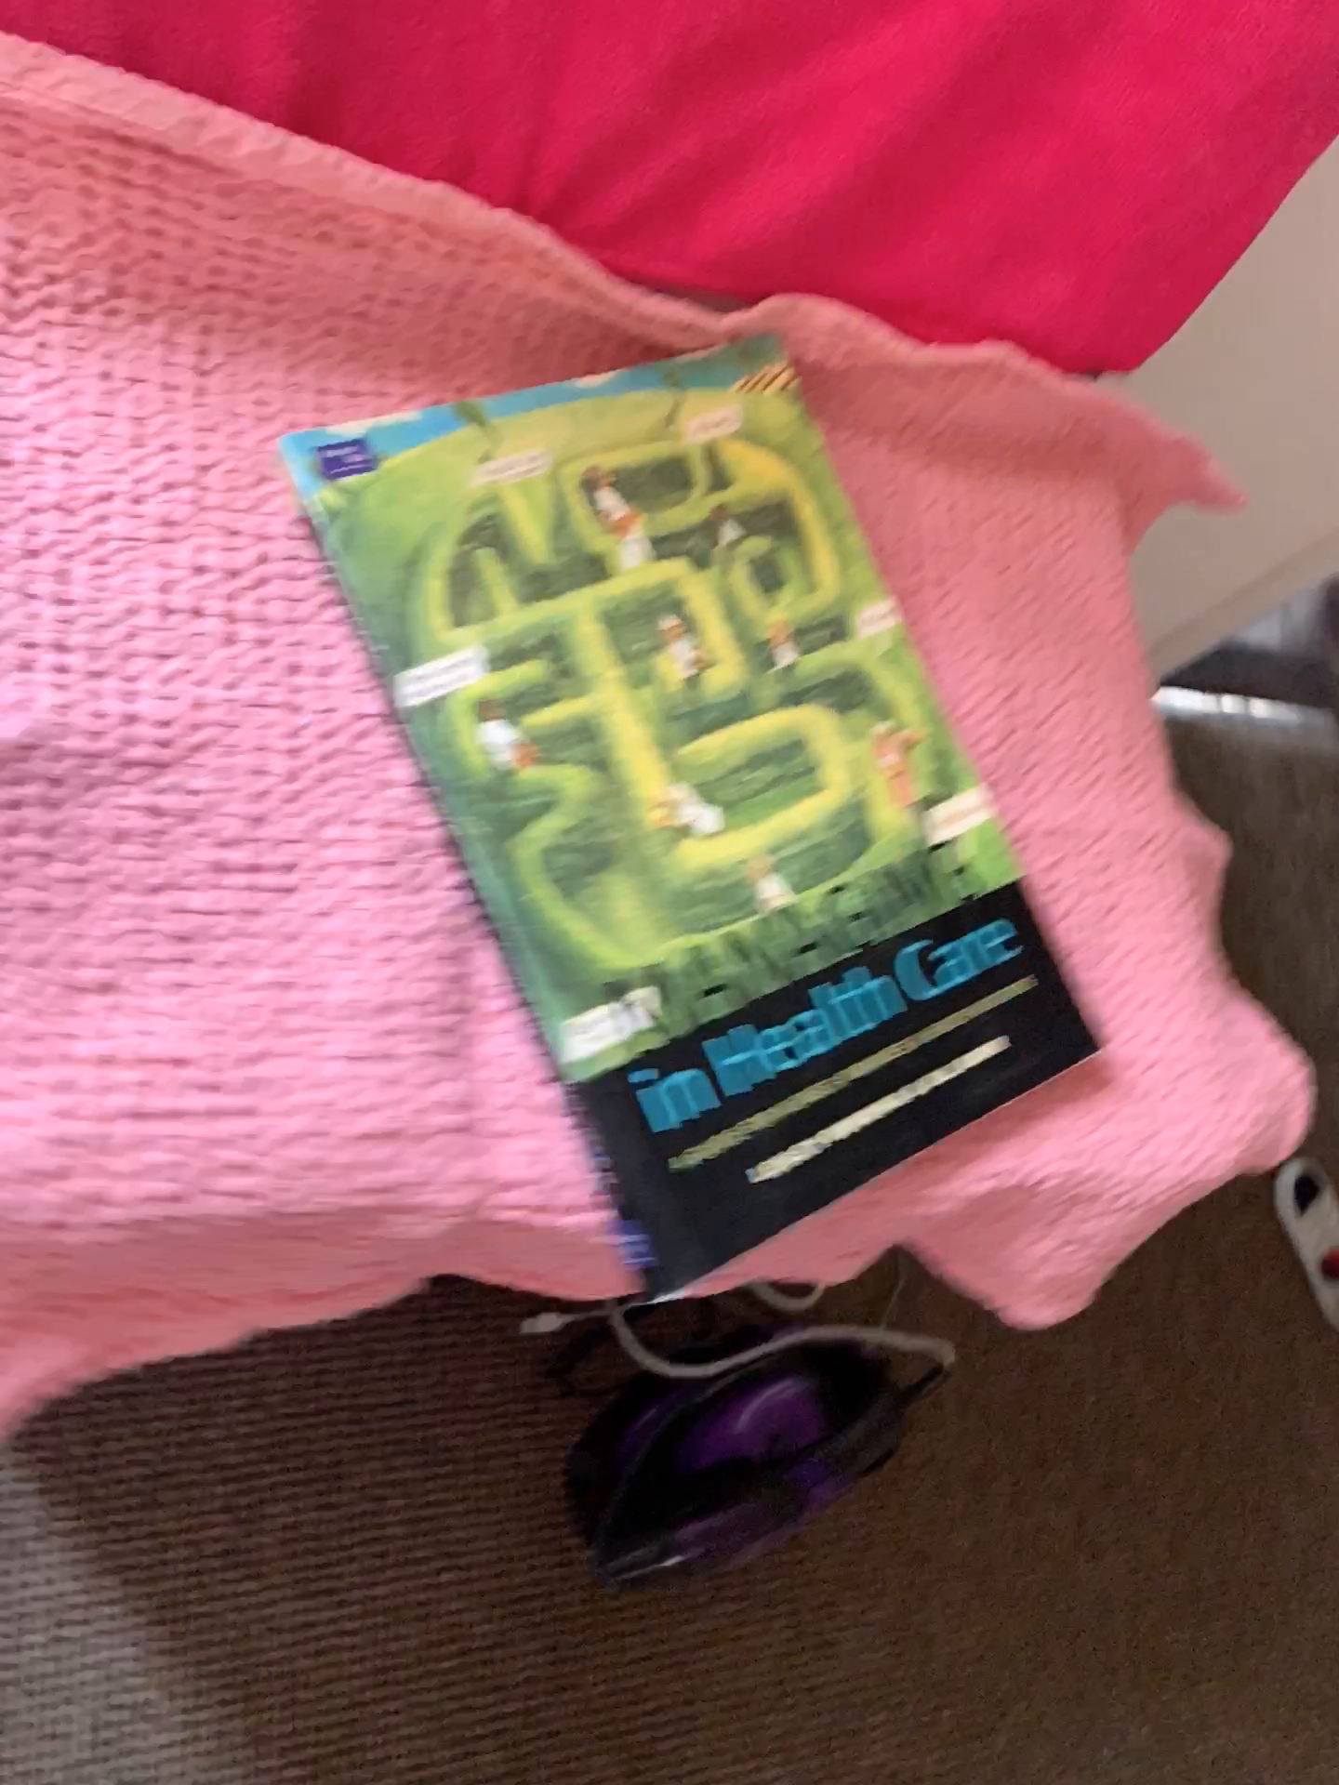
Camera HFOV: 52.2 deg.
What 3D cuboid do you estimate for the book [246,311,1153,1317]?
[{"bbox_3d":[0.015,-0.038,0.370,0.170,0.020,0.240,-22,83,-30],"label":"book"}]
